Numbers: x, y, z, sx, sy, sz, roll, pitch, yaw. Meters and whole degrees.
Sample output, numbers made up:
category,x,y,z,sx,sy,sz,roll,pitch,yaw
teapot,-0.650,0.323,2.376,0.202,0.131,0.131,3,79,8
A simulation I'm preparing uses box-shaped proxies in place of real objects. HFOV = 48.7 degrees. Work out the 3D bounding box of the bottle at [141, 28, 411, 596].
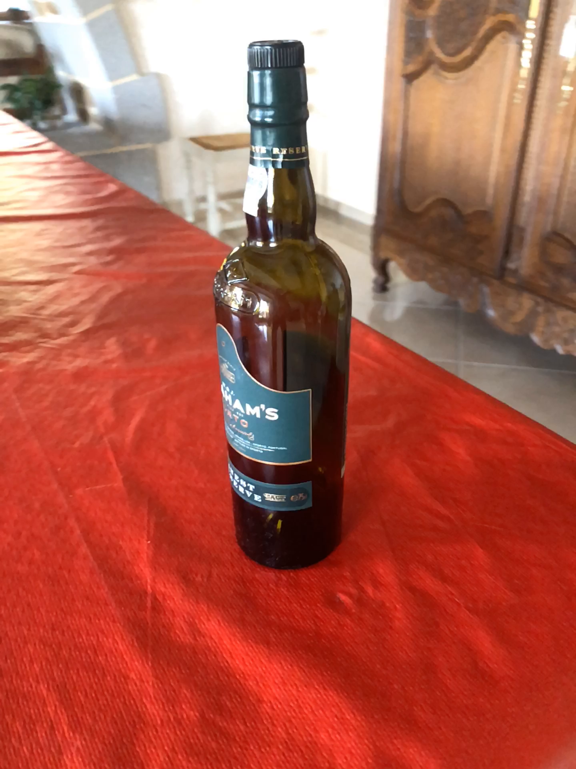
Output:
category,x,y,z,sx,sy,sz,roll,pitch,yaw
bottle,-0.006,-0.032,0.365,0.090,0.298,0.090,-1,31,1
